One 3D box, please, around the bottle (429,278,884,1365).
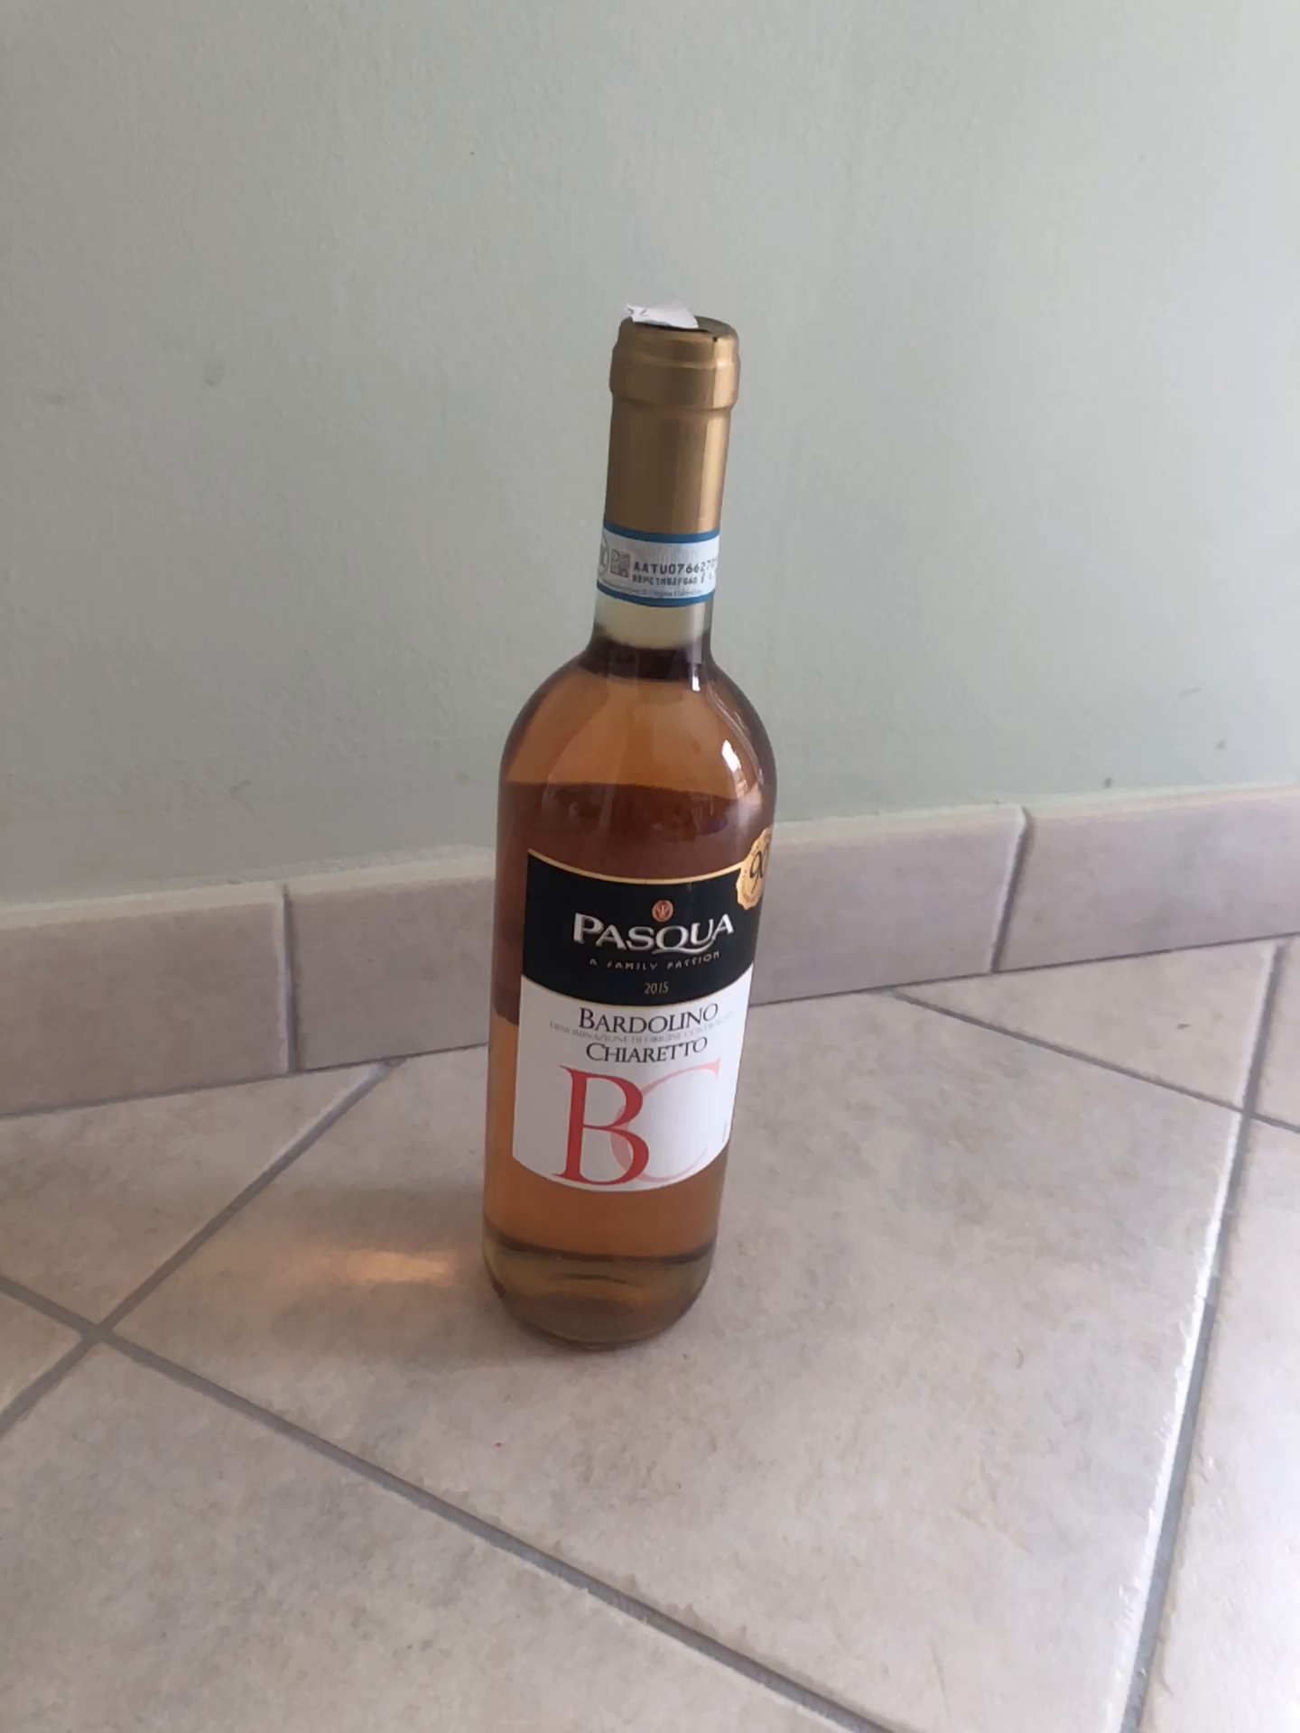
[{"bbox_3d":[-0.013,0.000,0.372,0.080,0.268,0.080,4,30,-2],"label":"bottle"}]
